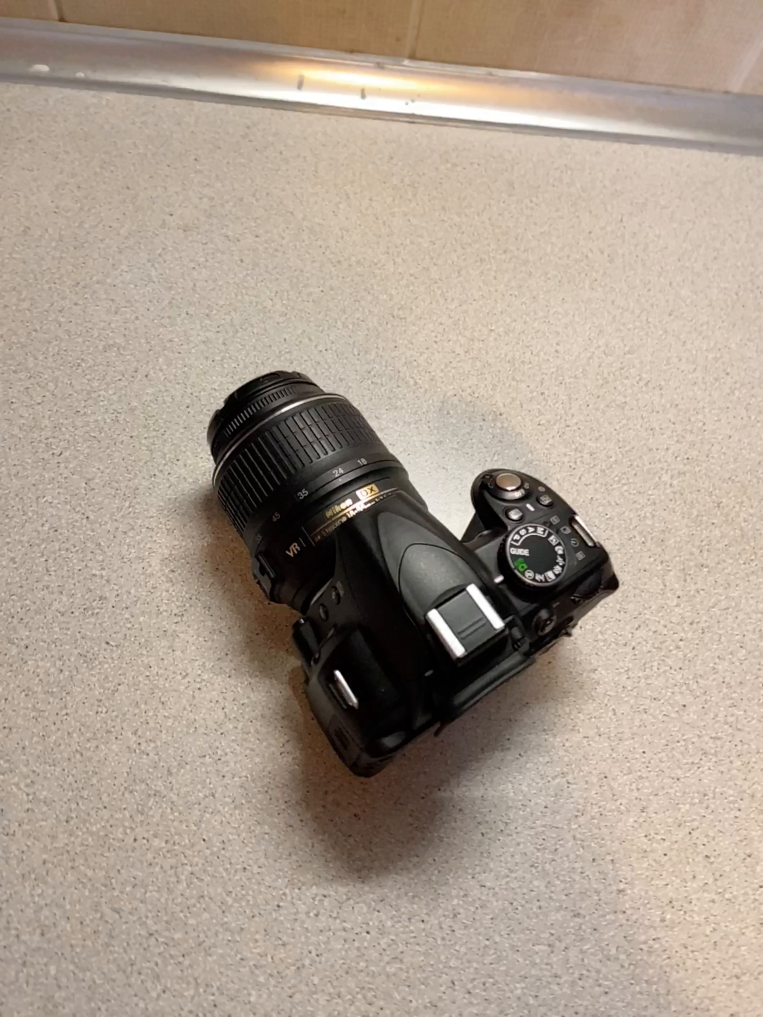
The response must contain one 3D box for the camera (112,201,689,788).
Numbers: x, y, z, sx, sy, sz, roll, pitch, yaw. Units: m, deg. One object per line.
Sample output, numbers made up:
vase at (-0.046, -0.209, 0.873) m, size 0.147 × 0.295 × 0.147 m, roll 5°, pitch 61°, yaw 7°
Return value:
camera at (-0.001, -0.007, 0.311) m, size 0.122 × 0.092 × 0.177 m, roll -30°, pitch 72°, yaw -19°
